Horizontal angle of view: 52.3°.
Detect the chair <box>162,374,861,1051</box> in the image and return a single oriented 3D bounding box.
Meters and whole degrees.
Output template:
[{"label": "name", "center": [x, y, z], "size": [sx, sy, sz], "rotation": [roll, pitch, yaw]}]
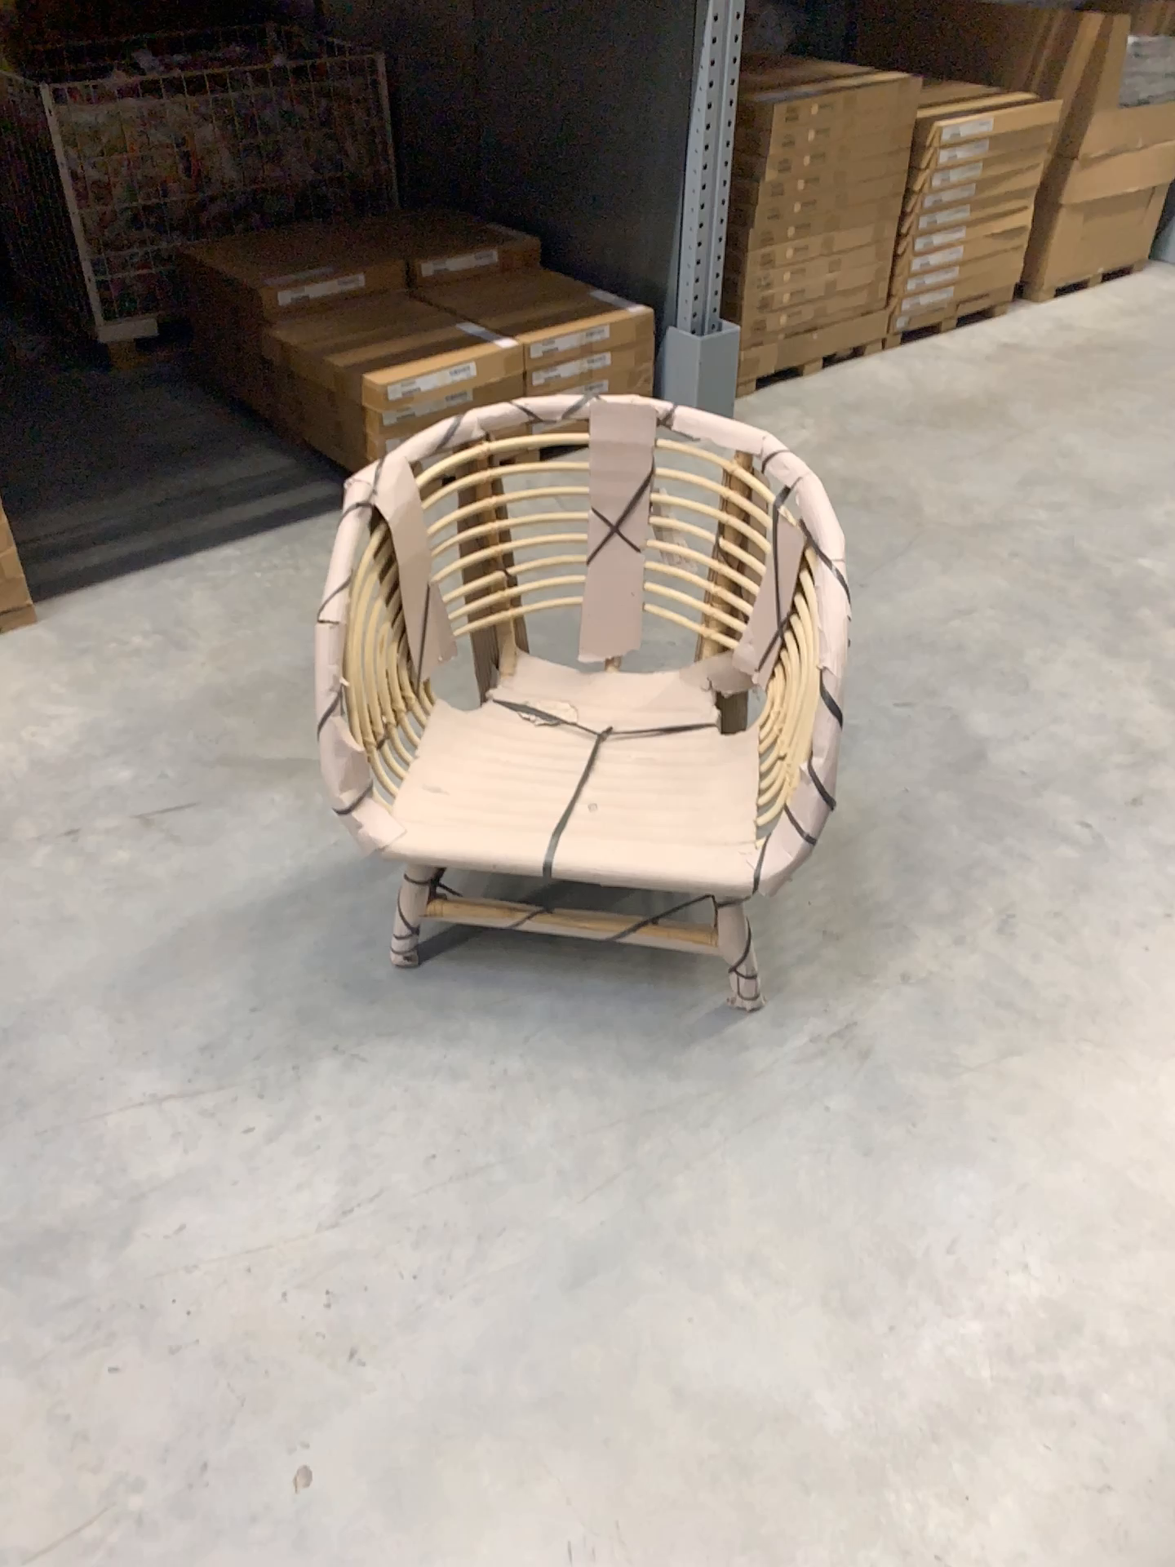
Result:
[{"label": "chair", "center": [-0.032, -0.151, 1.727], "size": [0.750, 0.568, 0.763], "rotation": [7, 38, 7]}]
